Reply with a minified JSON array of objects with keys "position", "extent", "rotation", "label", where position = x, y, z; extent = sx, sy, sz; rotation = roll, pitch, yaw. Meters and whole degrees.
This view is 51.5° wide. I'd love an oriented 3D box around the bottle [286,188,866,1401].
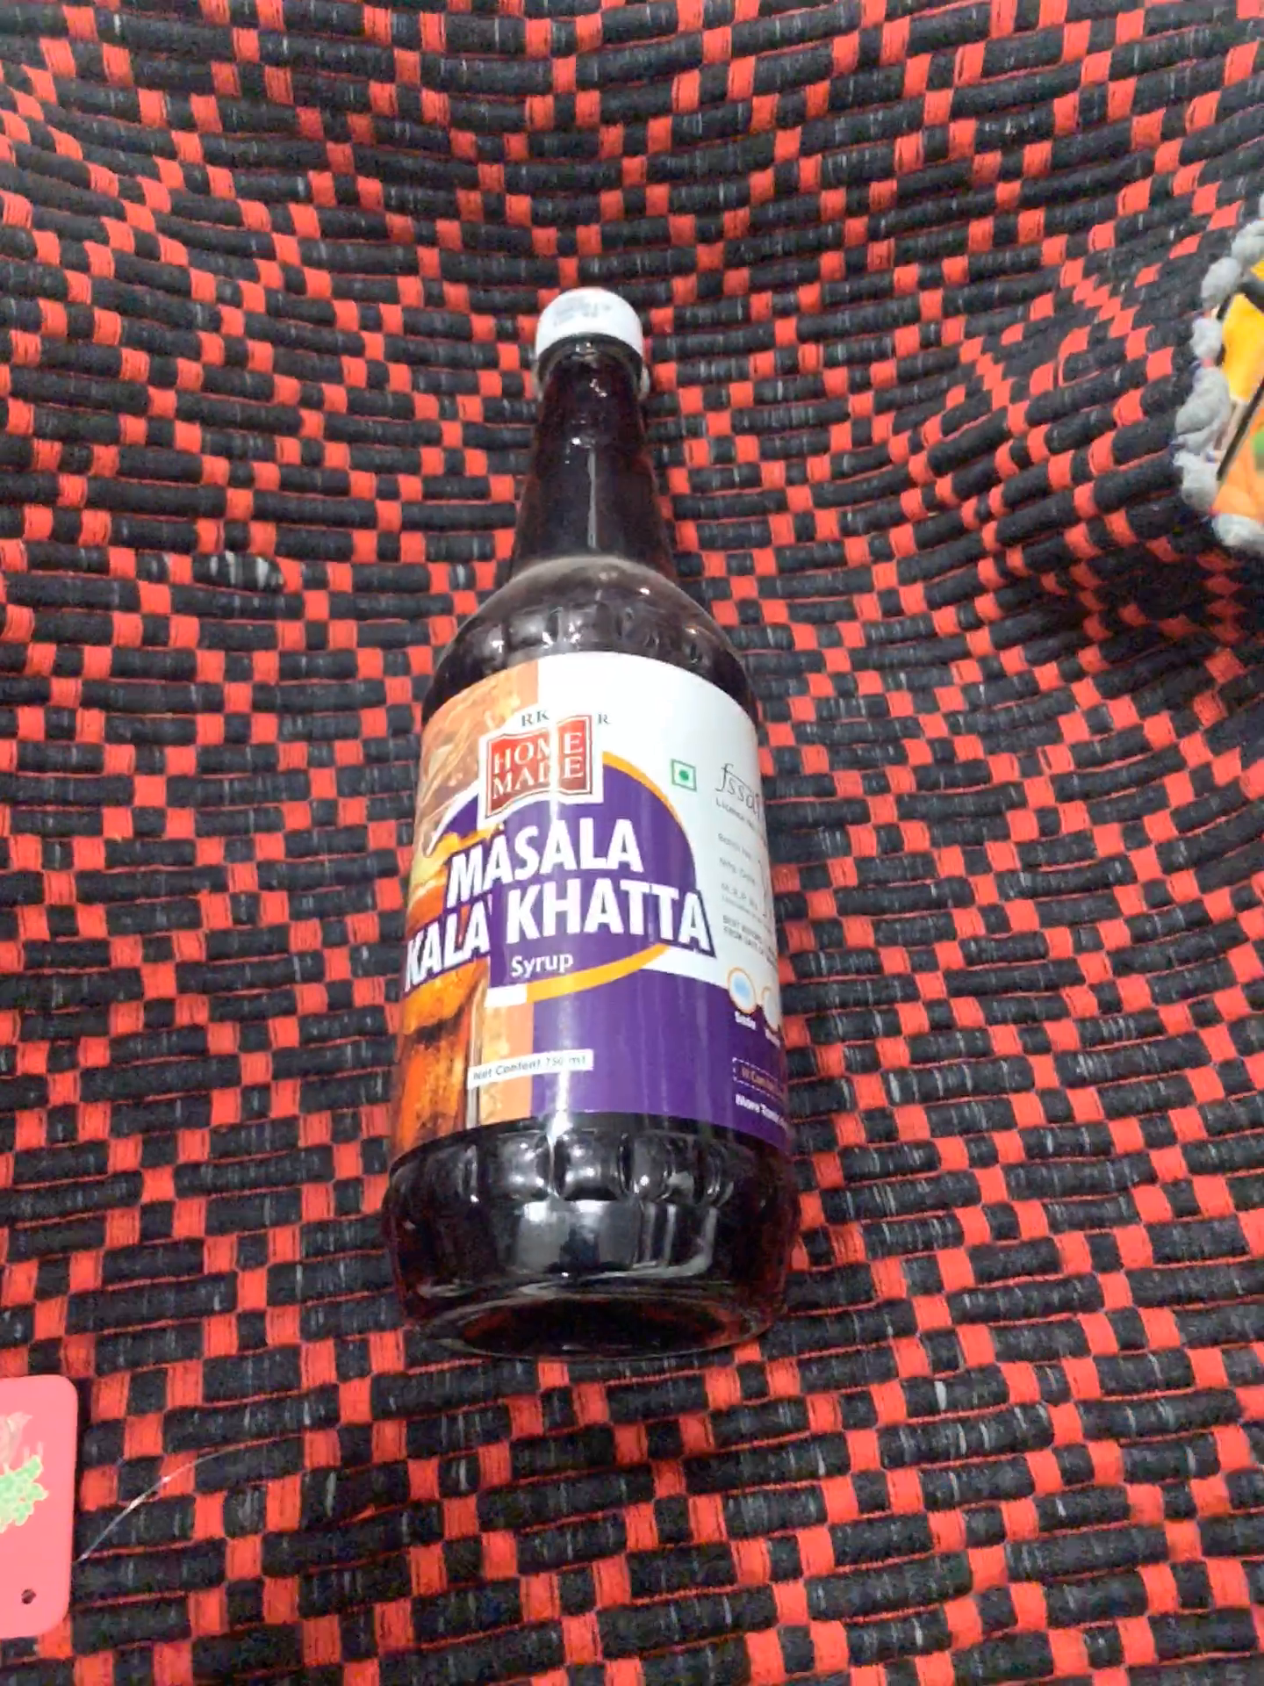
[{"position":[-0.010,-0.028,0.285],"extent":[0.080,0.080,0.261],"rotation":[-4,57,2],"label":"bottle"}]
